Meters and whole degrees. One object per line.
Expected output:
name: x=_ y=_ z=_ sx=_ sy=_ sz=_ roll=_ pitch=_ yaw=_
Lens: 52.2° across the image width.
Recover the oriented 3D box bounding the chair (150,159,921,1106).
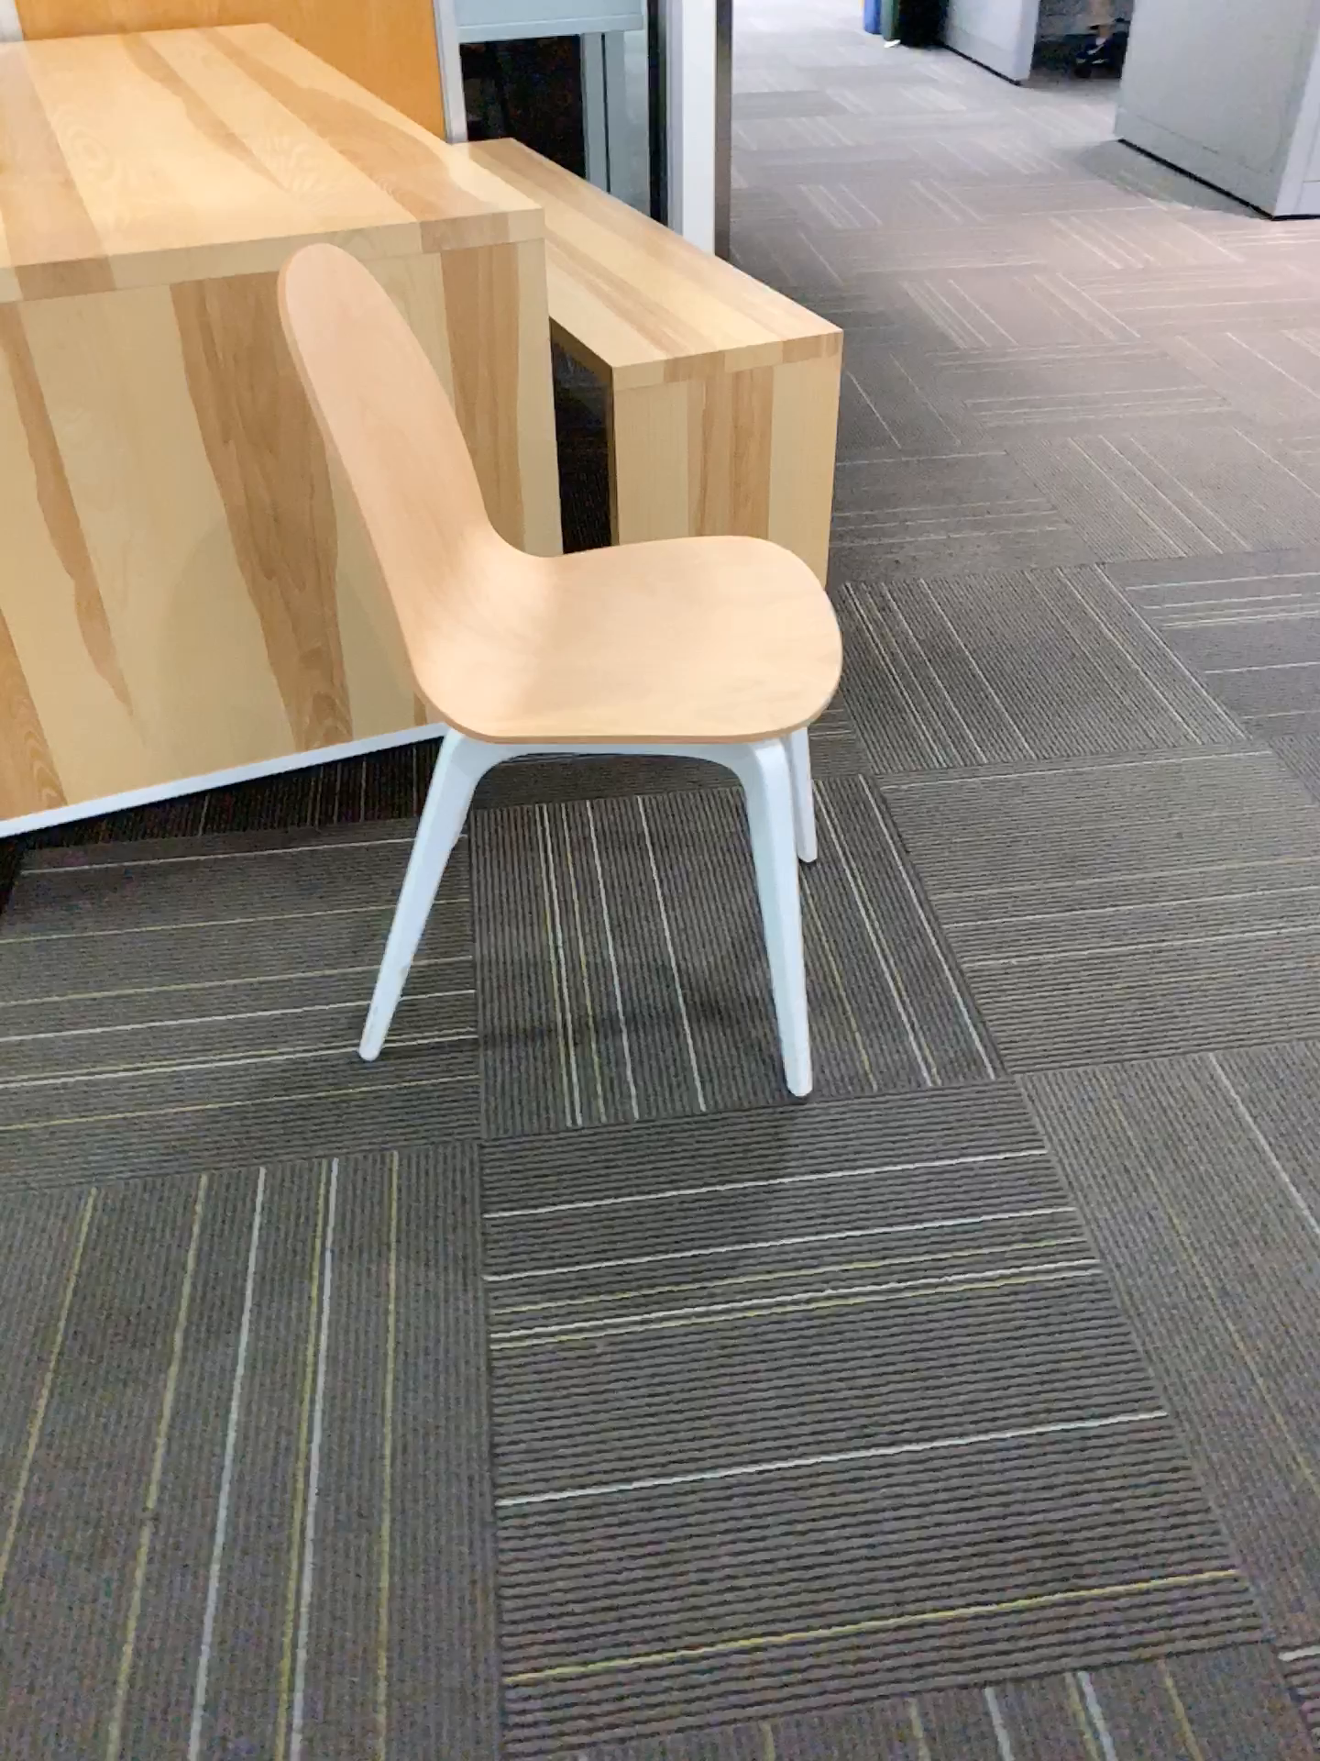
chair: x=-0.071 y=-0.256 z=1.441 sx=0.560 sy=0.815 sz=0.553 roll=2 pitch=39 yaw=4
